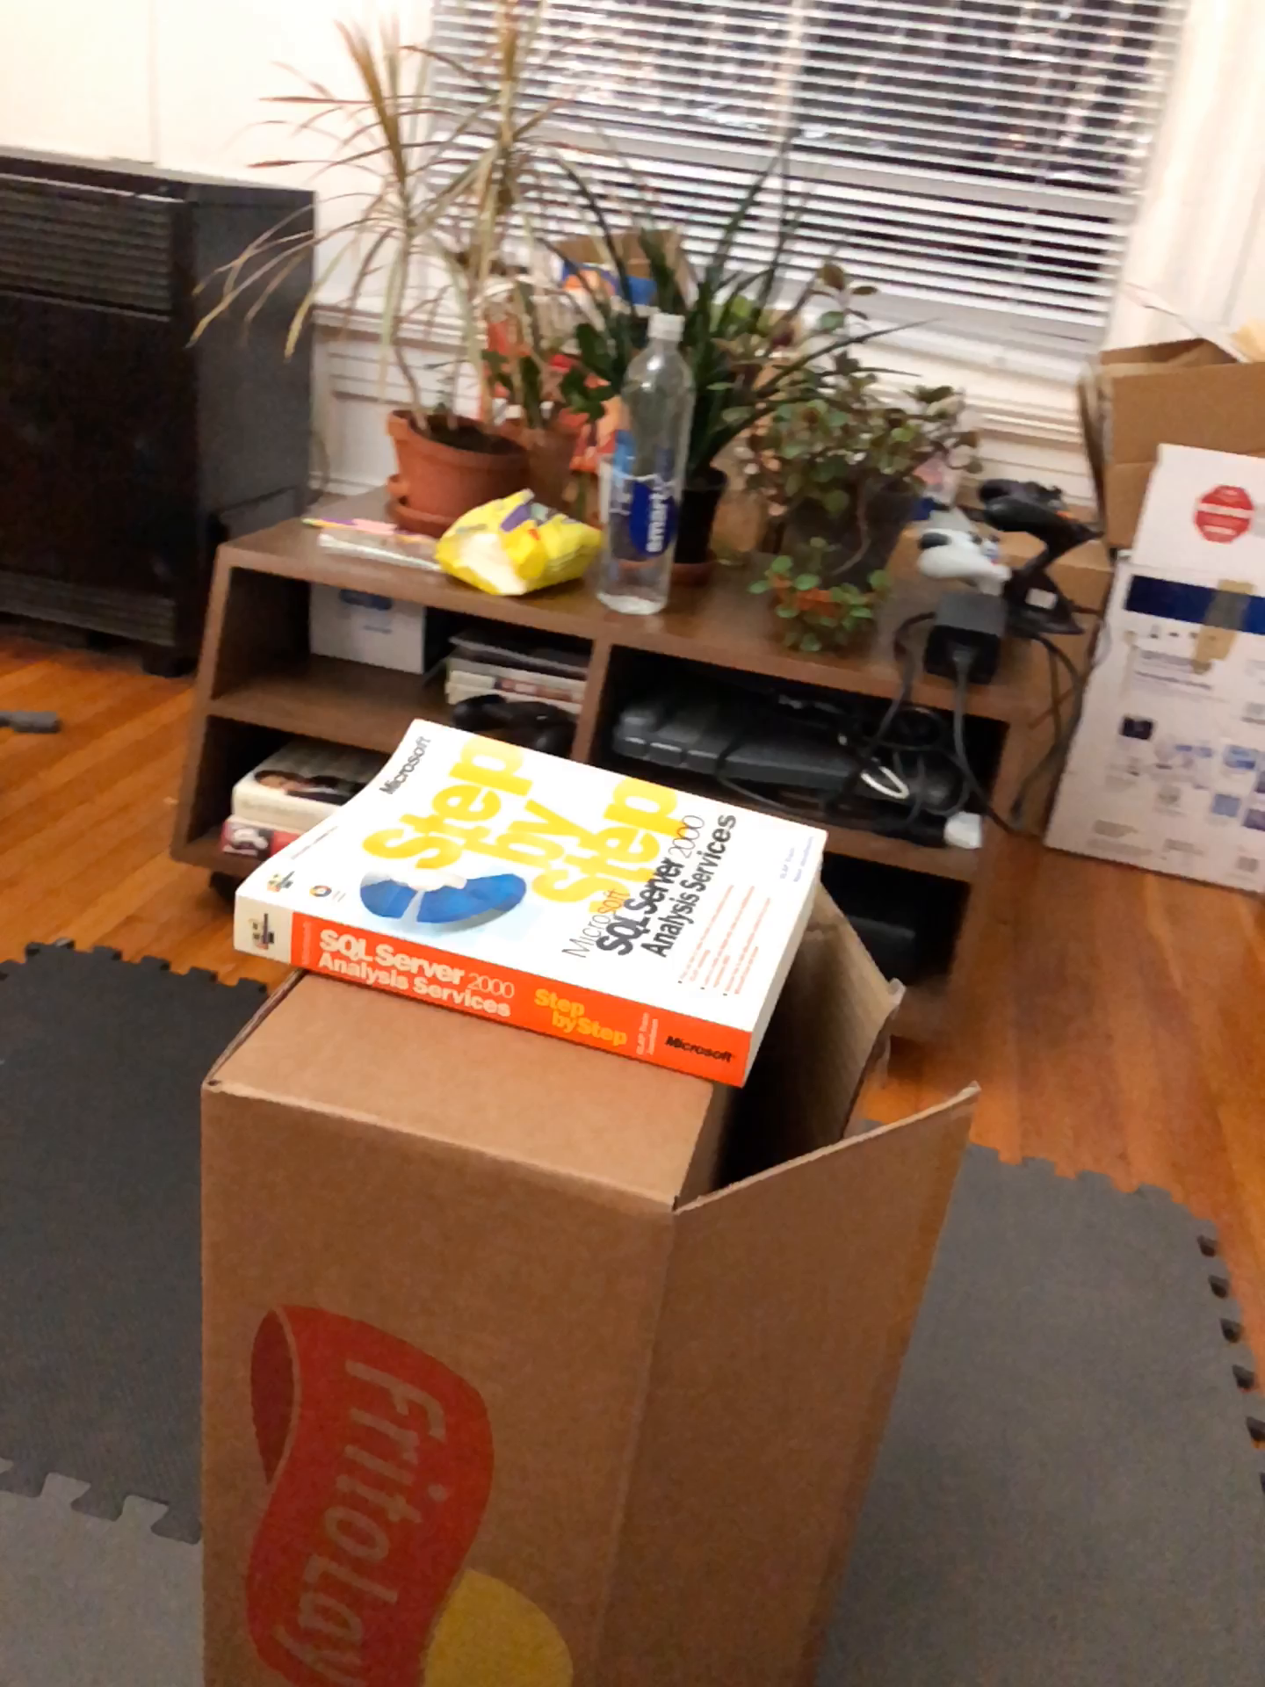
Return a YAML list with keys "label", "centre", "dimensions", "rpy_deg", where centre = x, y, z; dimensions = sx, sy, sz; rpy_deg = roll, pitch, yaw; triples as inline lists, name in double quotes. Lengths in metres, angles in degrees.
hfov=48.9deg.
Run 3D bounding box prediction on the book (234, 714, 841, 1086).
- label: "book"
  centre: [-0.031, 0.014, 0.667]
  dimensions: [0.240, 0.050, 0.201]
  rpy_deg: [14, 22, 8]
